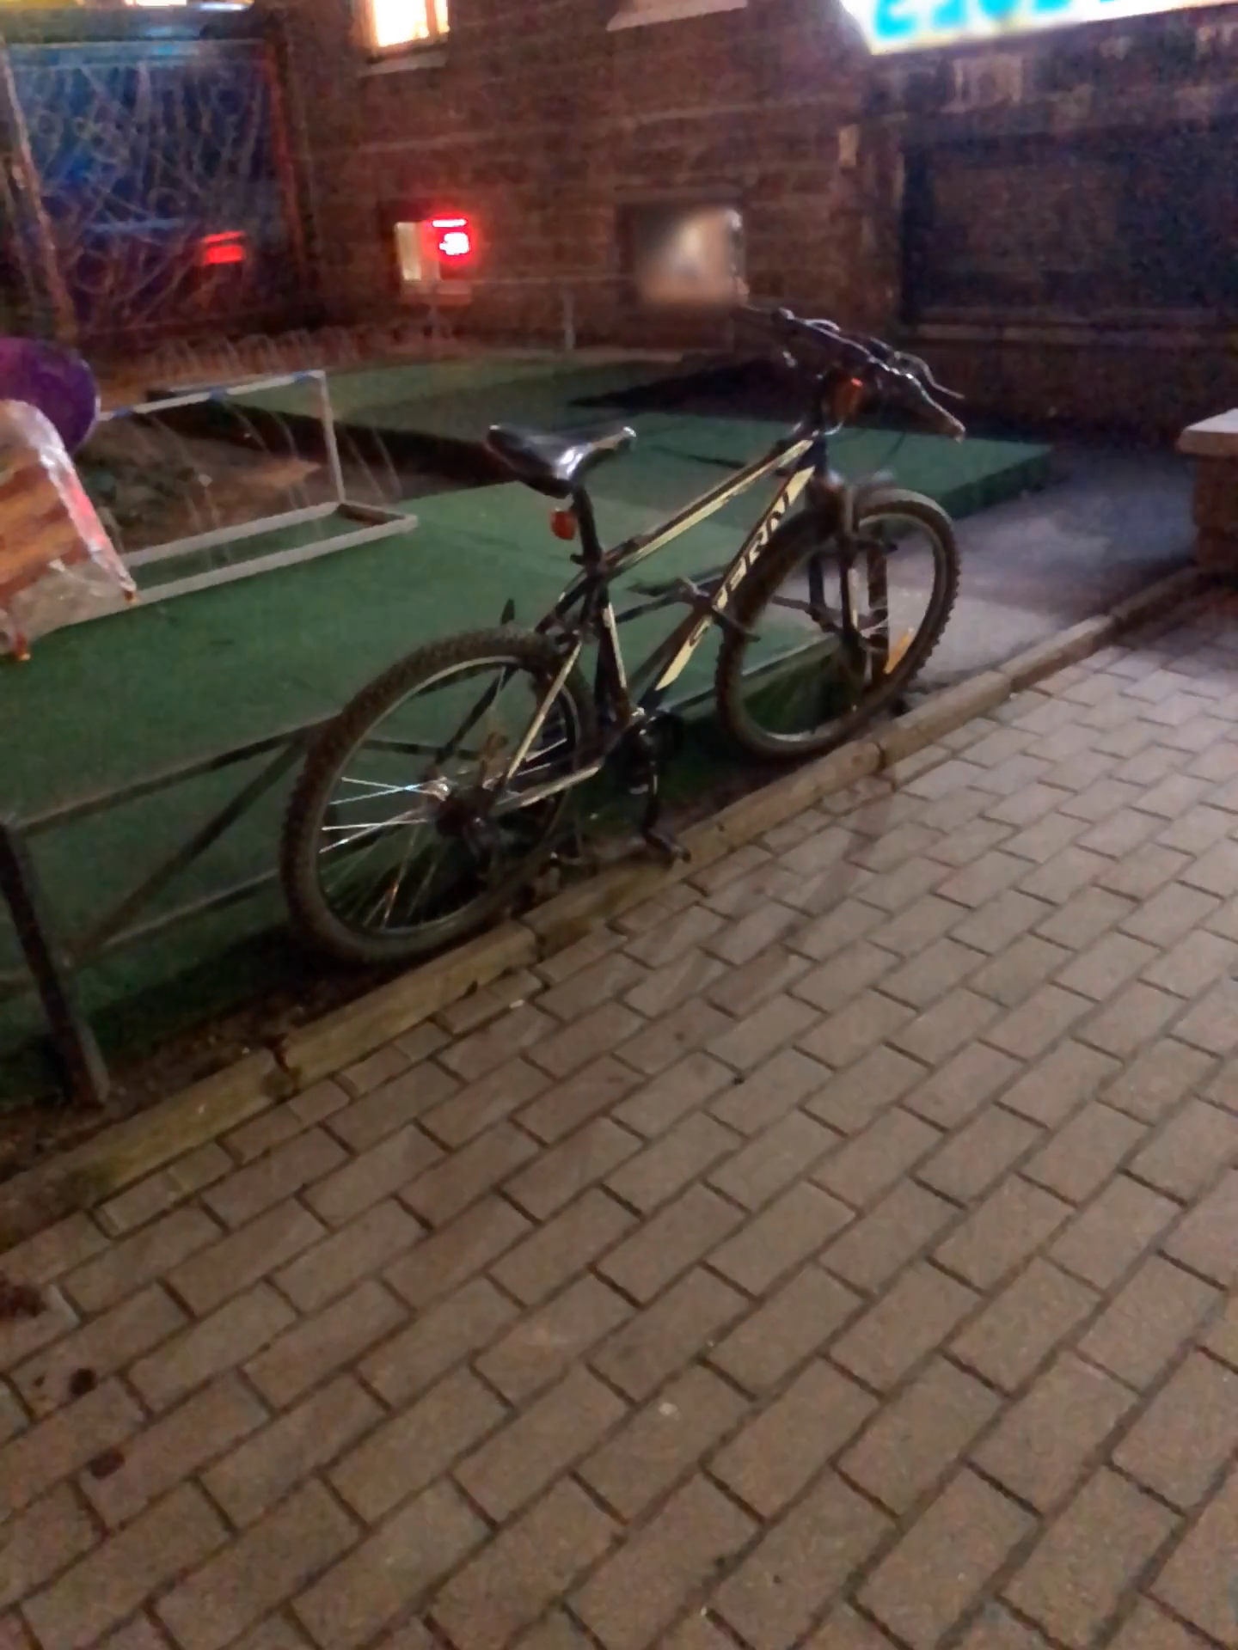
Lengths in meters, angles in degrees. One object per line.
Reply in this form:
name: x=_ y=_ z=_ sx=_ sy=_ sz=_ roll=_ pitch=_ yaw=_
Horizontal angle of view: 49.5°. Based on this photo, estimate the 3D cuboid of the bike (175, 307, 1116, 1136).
bike: x=0.161 y=-0.306 z=2.171 sx=1.460 sy=0.883 sz=0.531 roll=-23 pitch=29 yaw=-37
